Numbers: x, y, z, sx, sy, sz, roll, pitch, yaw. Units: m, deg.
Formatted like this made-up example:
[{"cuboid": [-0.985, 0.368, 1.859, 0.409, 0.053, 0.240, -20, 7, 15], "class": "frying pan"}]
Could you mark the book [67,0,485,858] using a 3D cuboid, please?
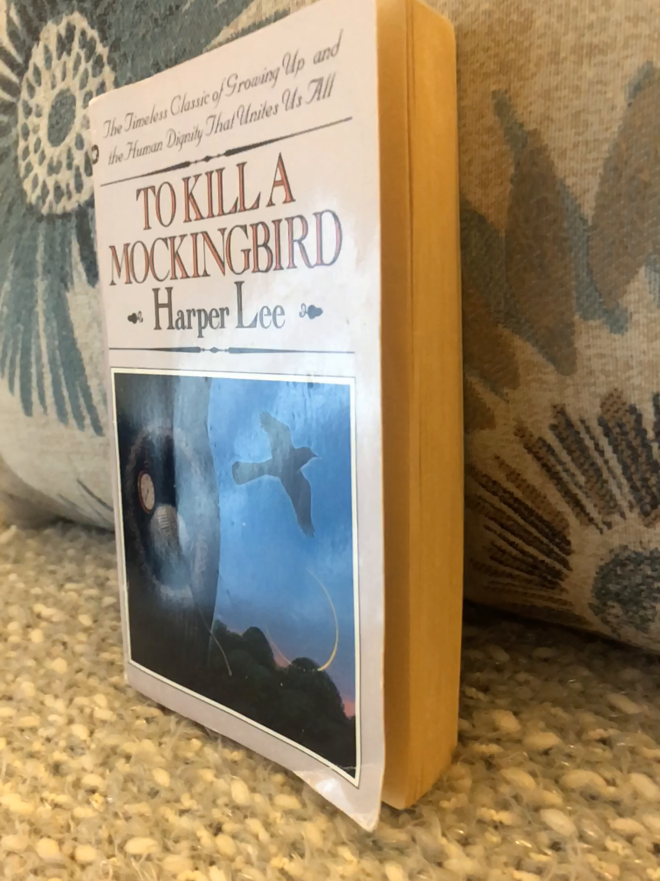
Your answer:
[{"cuboid": [-0.020, -0.008, 0.185, 0.112, 0.166, 0.033, 7, 10, 45], "class": "book"}]
